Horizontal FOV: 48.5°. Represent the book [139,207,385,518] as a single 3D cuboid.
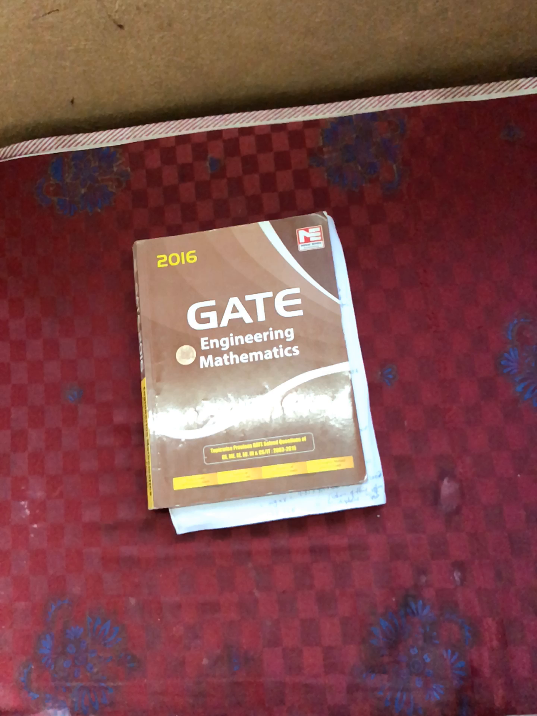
[{"bbox_3d":[-0.014,0.001,0.626,0.220,0.040,0.300,-8,74,4],"label":"book"}]
